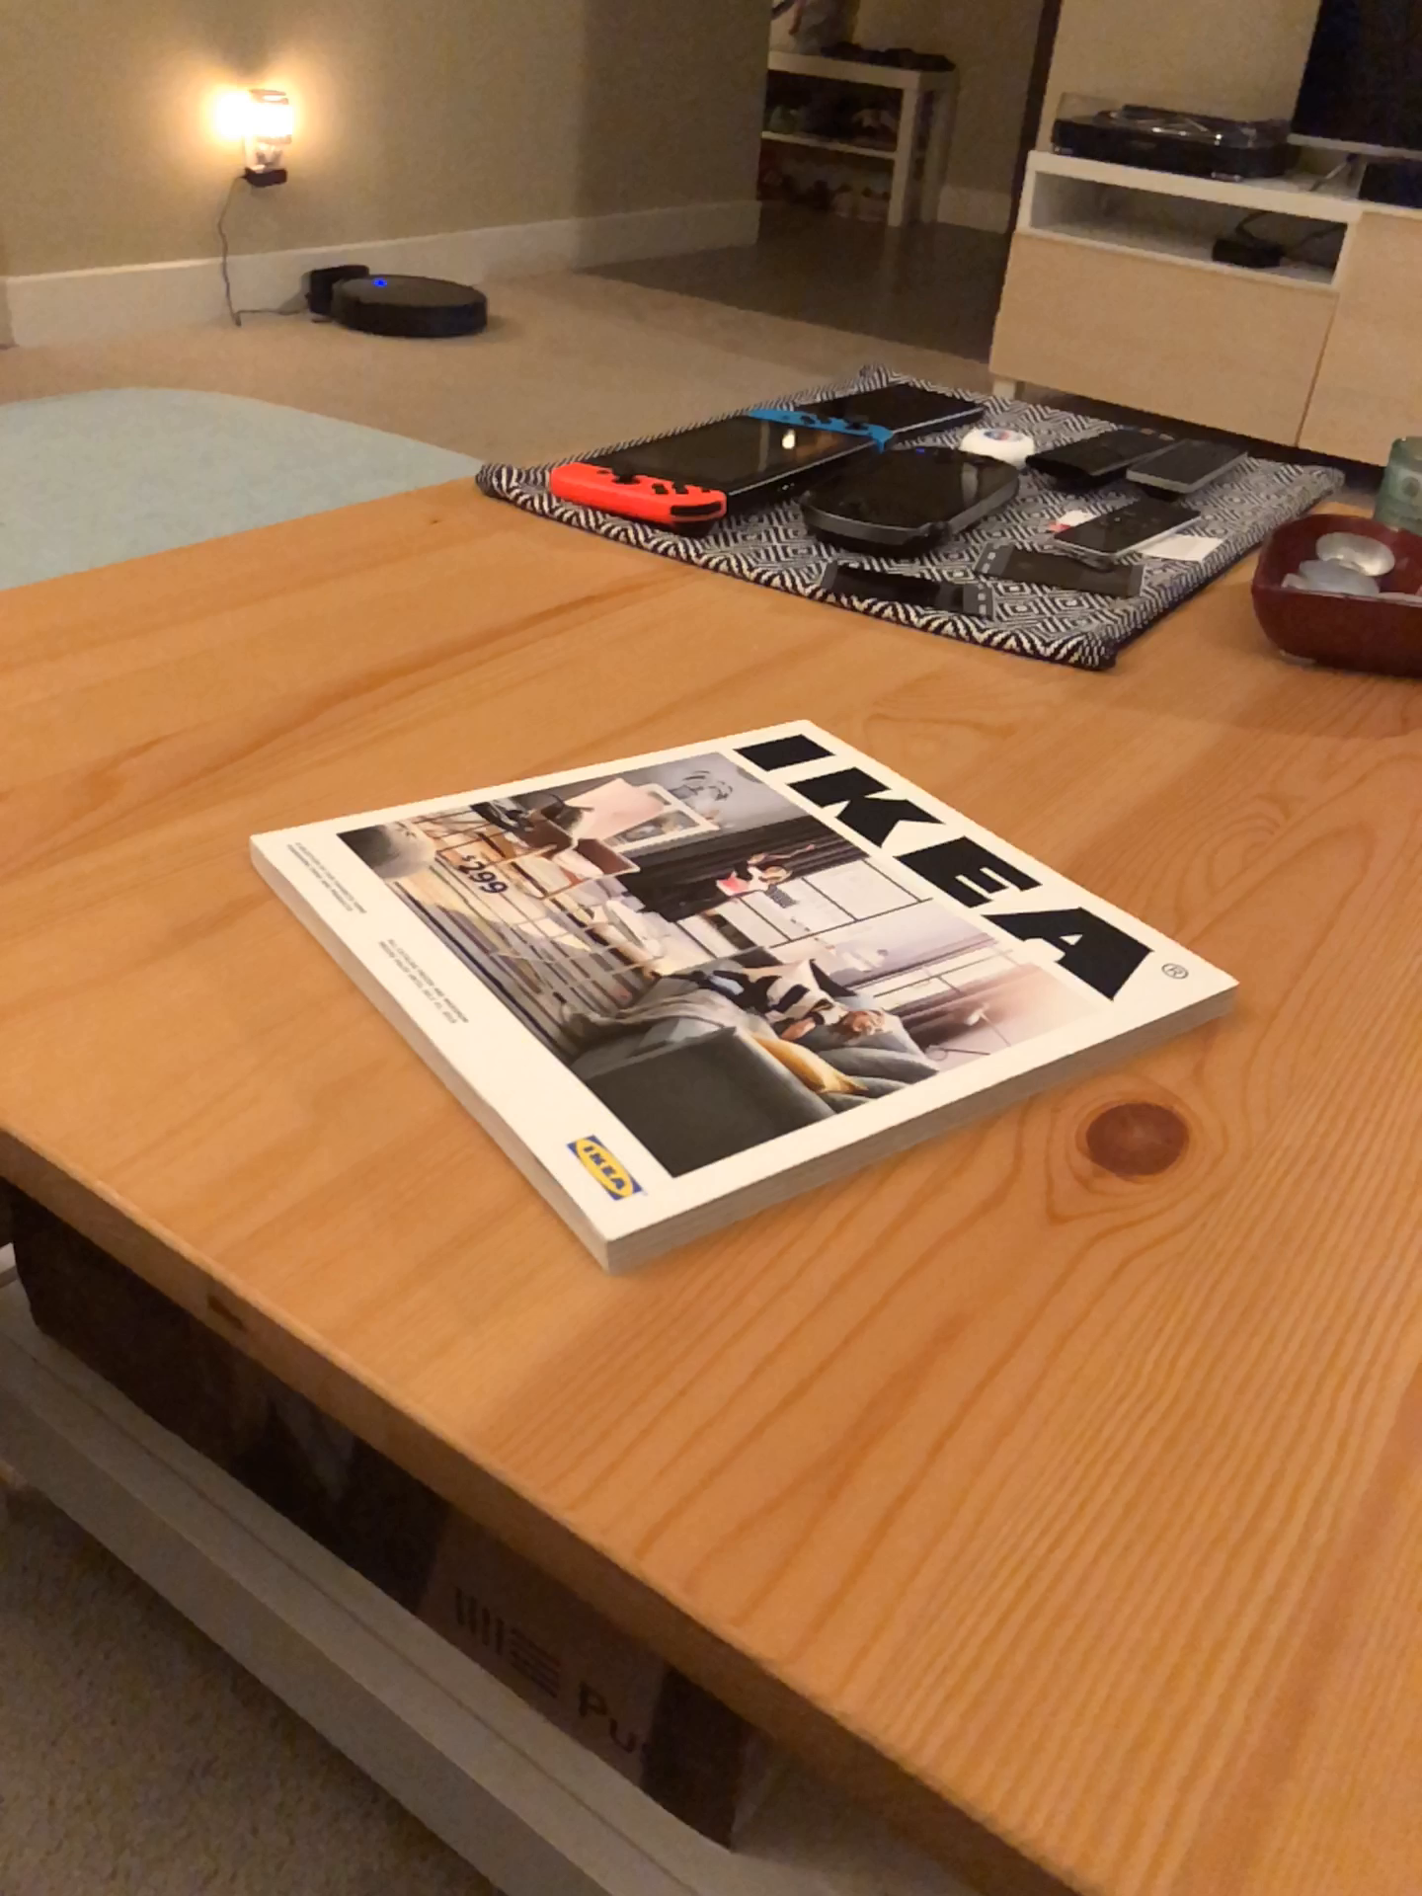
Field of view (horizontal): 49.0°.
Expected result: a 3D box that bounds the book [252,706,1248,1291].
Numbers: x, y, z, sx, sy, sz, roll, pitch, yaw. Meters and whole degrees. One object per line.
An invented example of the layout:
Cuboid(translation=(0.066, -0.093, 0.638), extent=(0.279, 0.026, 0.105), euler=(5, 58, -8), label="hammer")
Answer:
Cuboid(translation=(0.007, -0.008, 0.470), extent=(0.216, 0.015, 0.211), euler=(-17, 39, -32), label="book")
